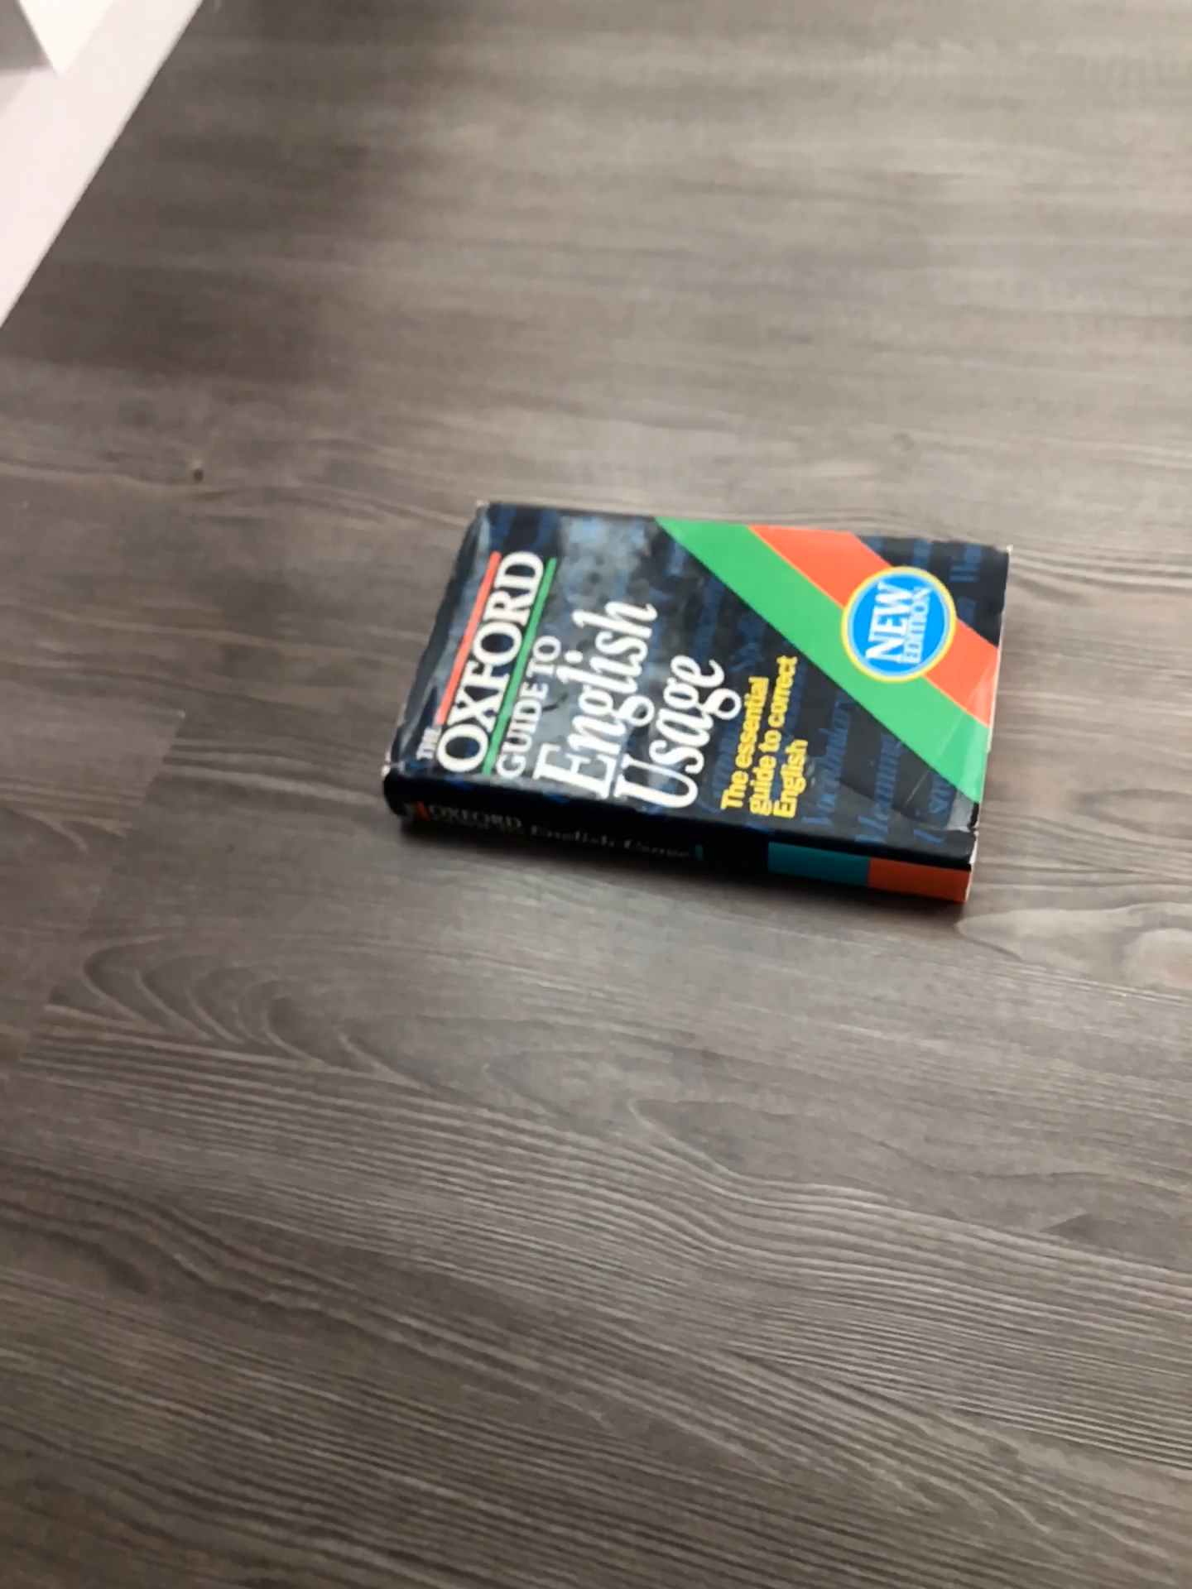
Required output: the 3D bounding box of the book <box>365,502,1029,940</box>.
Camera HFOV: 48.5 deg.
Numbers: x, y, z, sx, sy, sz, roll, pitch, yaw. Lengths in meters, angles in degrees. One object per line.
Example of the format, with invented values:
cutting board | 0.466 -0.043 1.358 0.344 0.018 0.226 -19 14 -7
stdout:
book | 0.043 -0.037 0.523 0.229 0.035 0.151 8 62 13
